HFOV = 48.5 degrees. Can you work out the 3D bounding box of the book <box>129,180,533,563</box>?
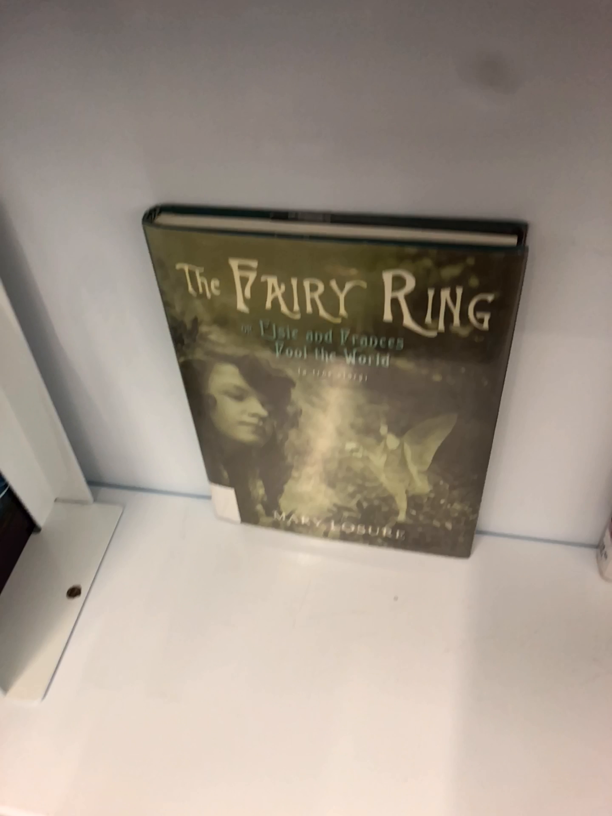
[{"bbox_3d":[0.012,-0.006,0.320,0.150,0.190,0.028,6,43,11],"label":"book"}]
